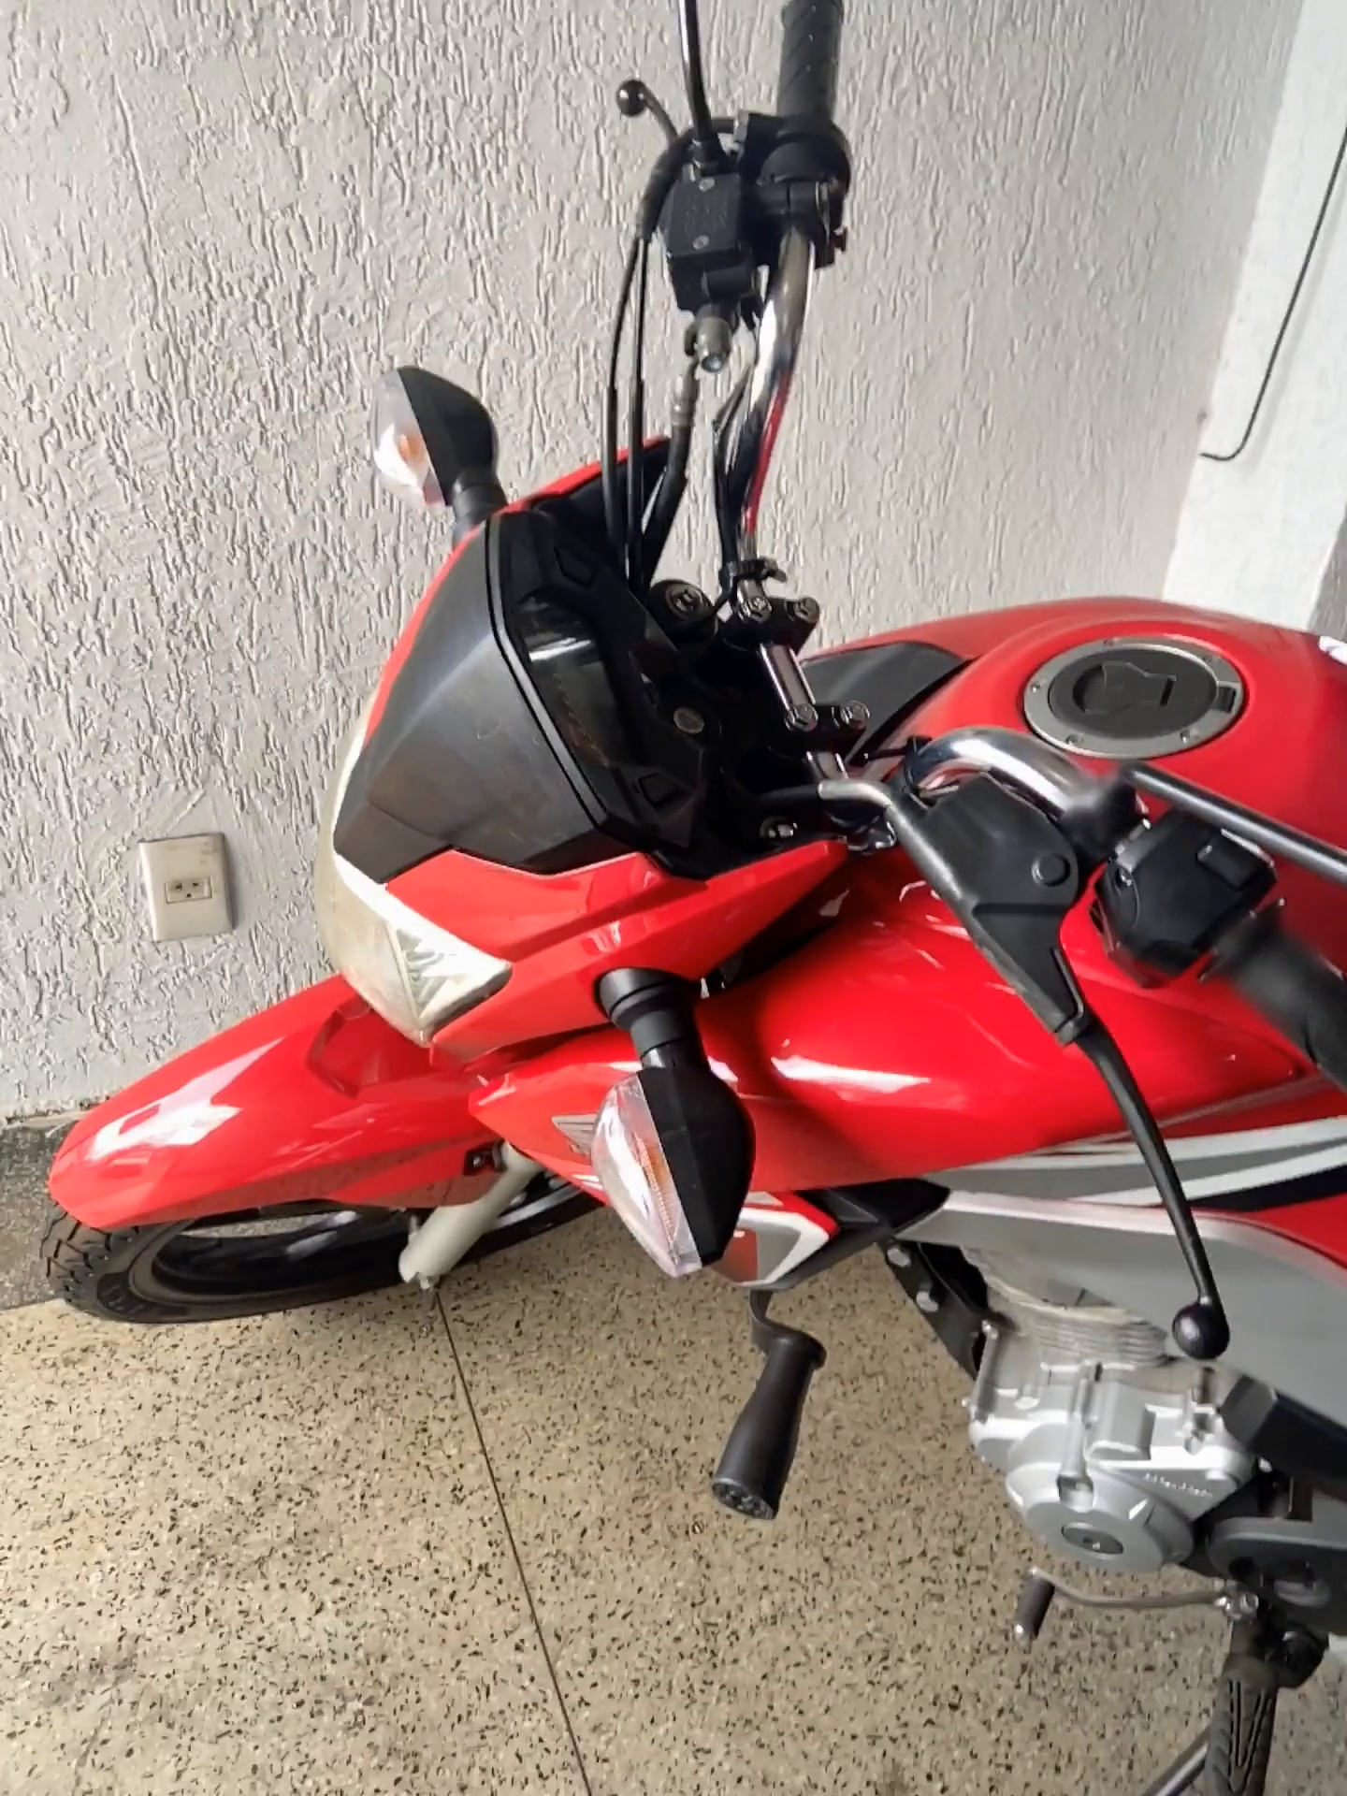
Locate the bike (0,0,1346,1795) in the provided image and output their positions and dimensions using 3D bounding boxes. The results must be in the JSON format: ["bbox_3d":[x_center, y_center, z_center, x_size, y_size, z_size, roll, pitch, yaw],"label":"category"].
[{"bbox_3d":[0.368,0.338,0.840,1.989,1.421,0.873,9,29,13],"label":"bike"}]
